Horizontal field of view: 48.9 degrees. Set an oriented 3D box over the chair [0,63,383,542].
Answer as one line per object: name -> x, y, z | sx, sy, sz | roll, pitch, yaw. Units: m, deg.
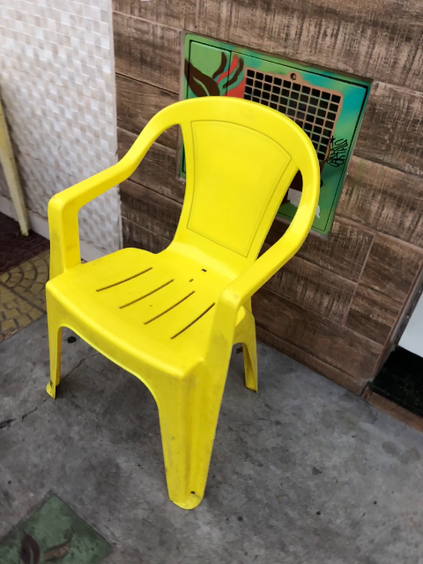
chair -> -0.121, 0.004, 1.087 | 0.642, 0.744, 0.543 | 30, 45, 27
